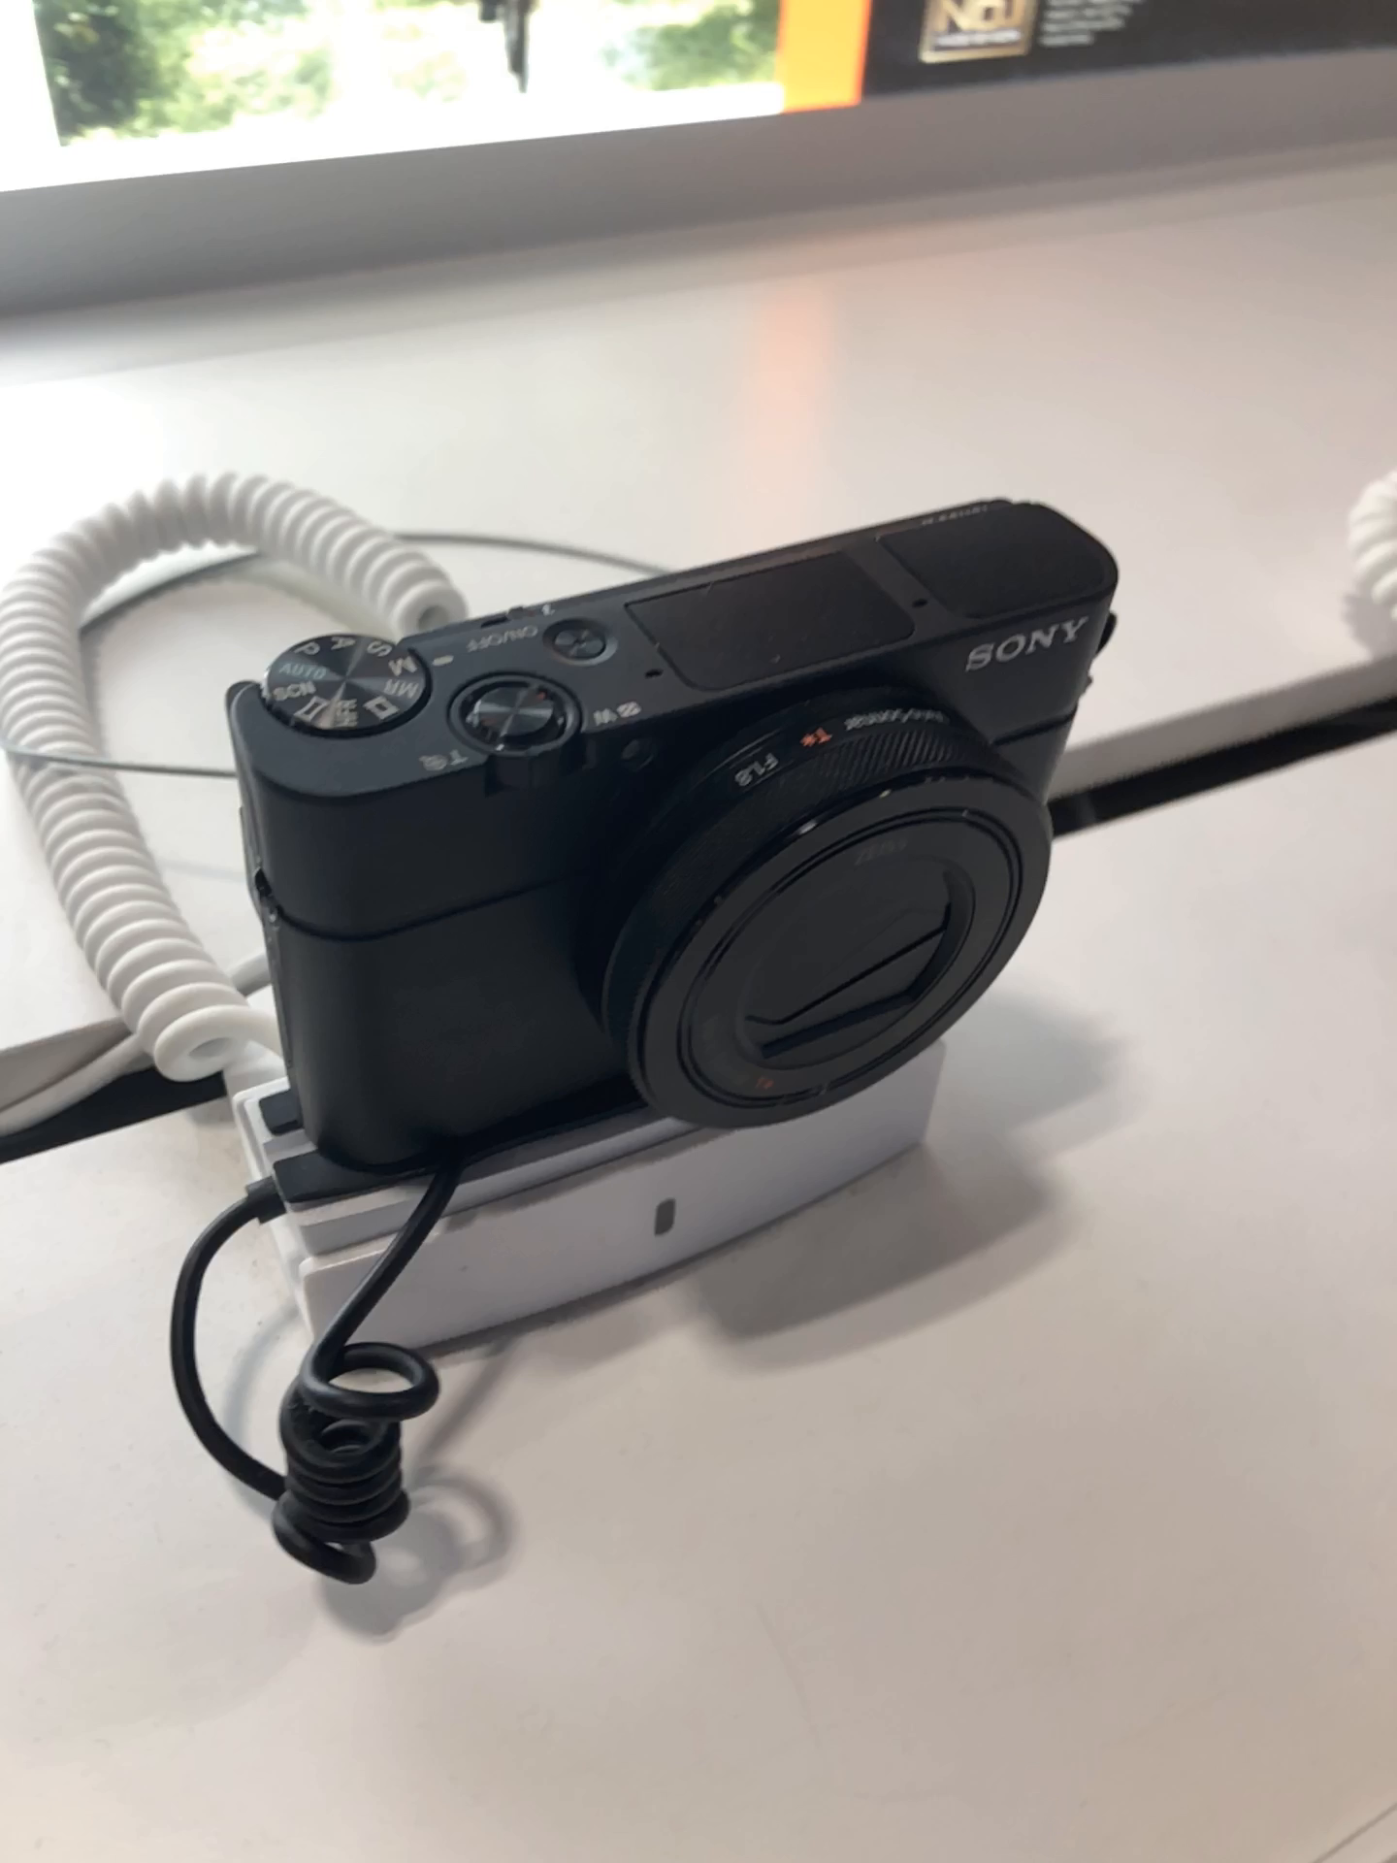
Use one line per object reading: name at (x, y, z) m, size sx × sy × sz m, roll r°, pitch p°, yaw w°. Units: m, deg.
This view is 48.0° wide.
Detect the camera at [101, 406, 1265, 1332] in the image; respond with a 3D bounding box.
camera at (-0.001, -0.010, 0.180) m, size 0.110 × 0.070 × 0.040 m, roll -18°, pitch 48°, yaw -22°
